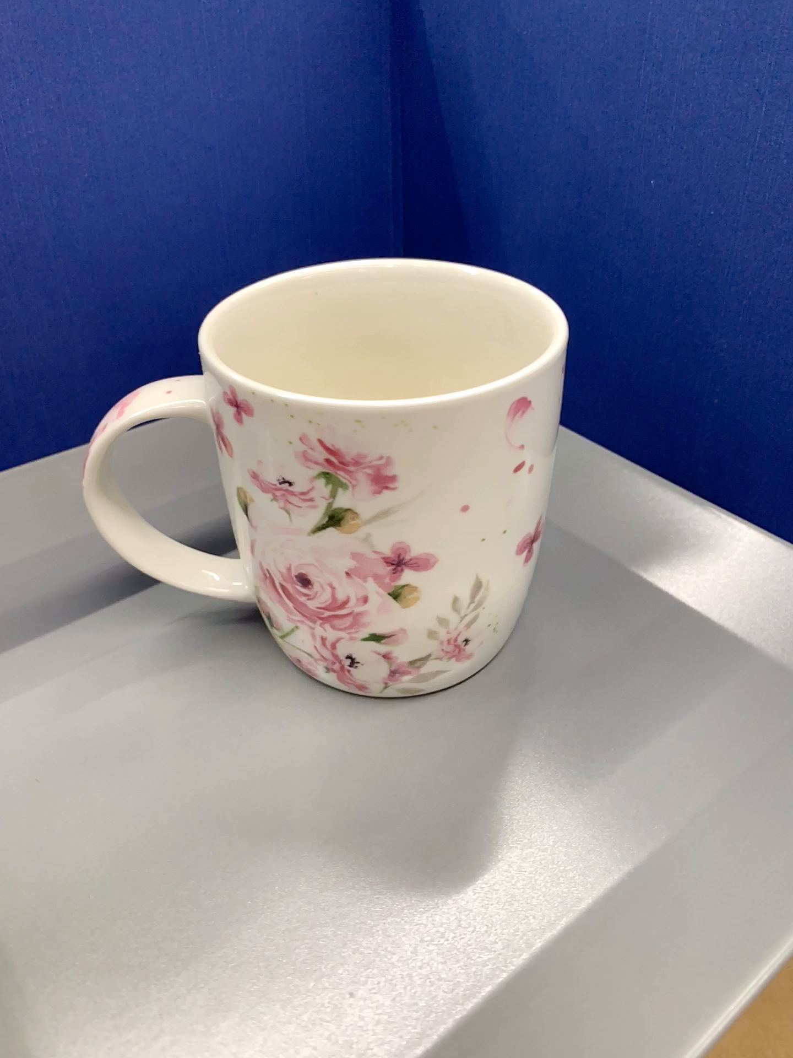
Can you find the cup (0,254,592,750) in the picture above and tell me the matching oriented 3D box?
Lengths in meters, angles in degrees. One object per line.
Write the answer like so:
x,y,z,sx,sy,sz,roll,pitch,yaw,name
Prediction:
-0.018,-0.011,0.204,0.110,0.087,0.085,2,33,4,cup
